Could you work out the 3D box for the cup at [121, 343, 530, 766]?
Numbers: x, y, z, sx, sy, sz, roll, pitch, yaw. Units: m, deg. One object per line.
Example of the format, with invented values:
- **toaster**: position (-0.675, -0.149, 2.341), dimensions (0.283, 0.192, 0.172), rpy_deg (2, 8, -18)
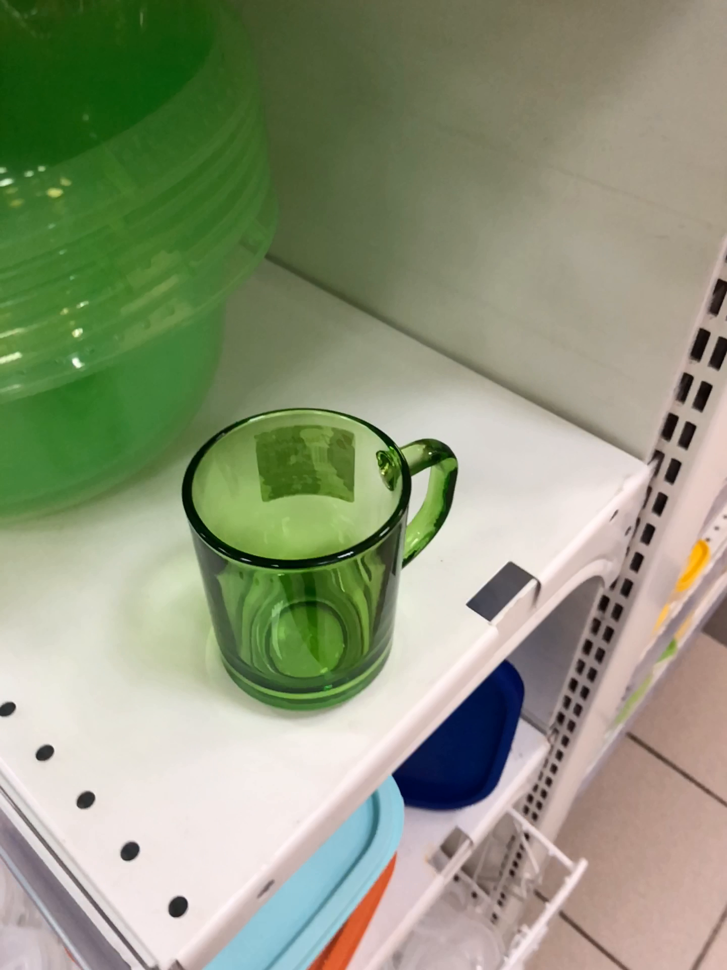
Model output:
- **cup**: position (-0.011, 0.022, 0.290), dimensions (0.110, 0.086, 0.073), rpy_deg (-30, 53, -26)
